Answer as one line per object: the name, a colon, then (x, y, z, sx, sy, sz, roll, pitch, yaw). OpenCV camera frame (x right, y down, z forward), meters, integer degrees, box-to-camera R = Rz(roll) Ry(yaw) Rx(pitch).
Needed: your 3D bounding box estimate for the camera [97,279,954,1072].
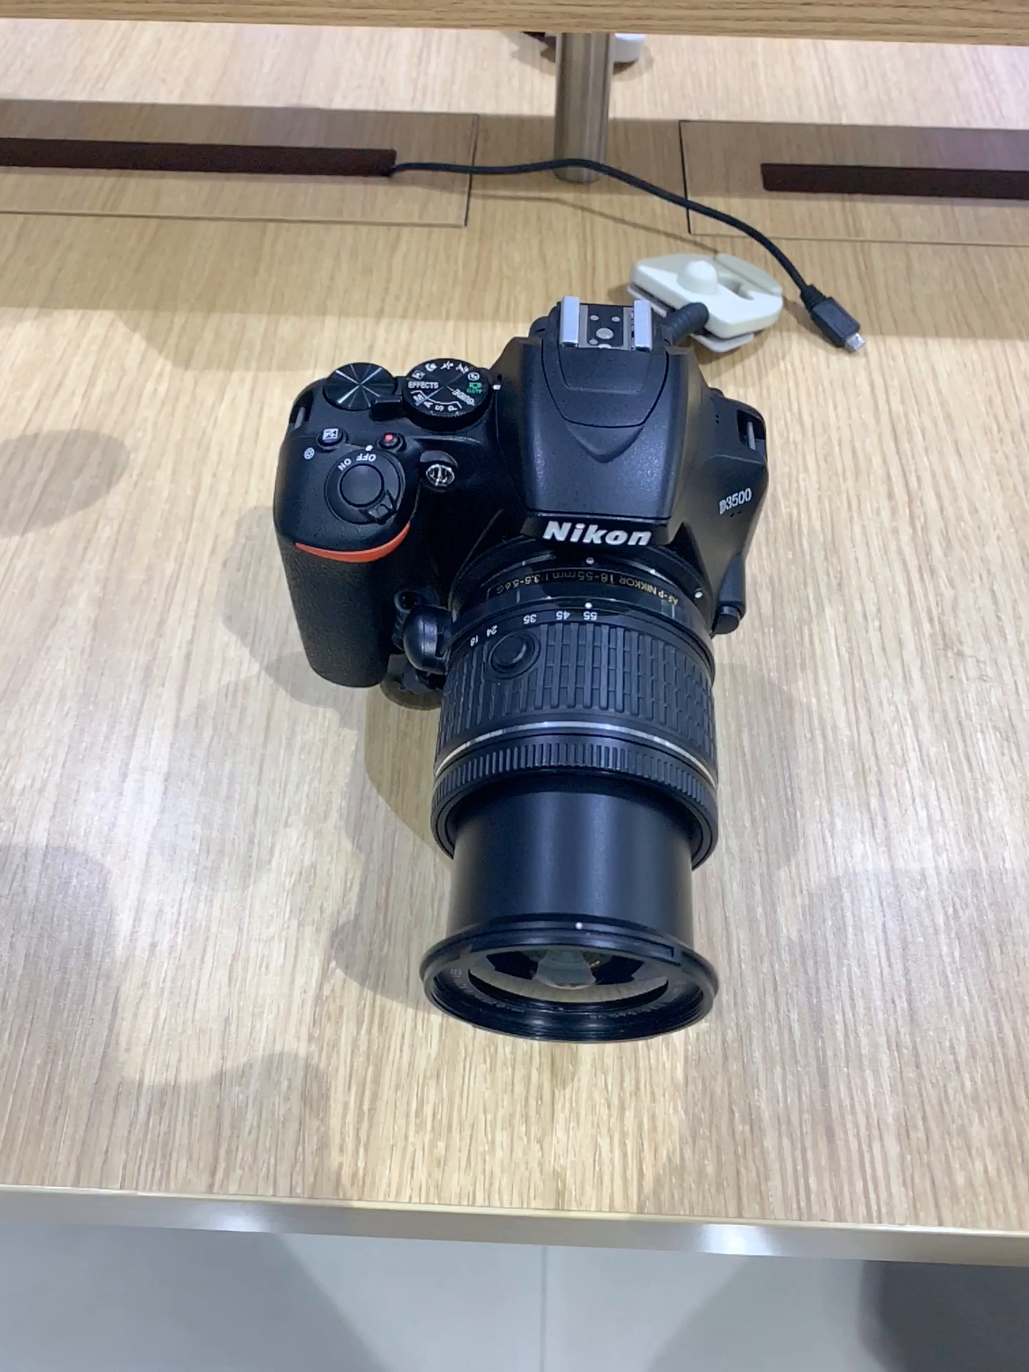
camera: (0.003, -0.001, 0.221, 0.117, 0.095, 0.131, 2, 56, 0)
